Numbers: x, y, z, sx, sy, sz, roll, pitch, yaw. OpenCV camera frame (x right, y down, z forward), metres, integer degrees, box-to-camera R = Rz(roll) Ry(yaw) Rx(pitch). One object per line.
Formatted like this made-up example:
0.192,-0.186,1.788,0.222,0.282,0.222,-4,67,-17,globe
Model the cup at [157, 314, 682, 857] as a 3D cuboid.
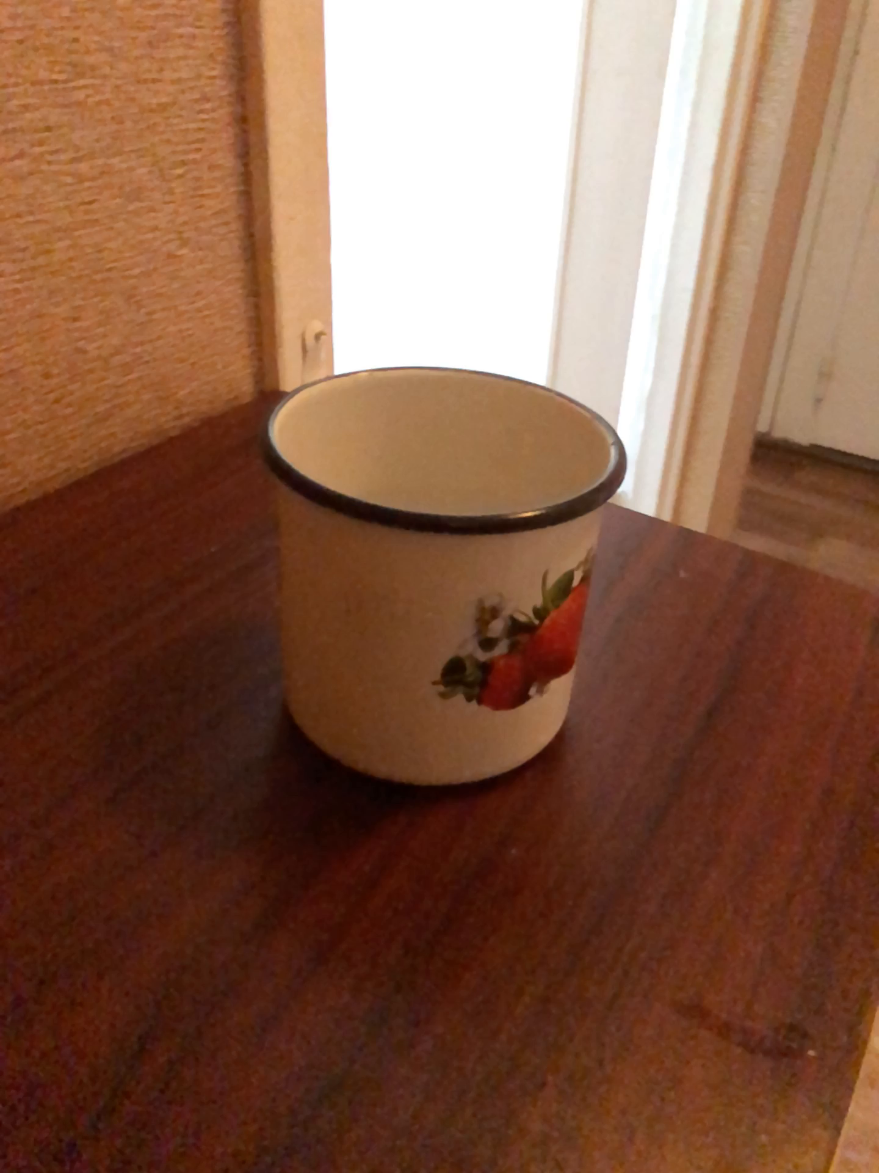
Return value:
0.001,-0.015,0.358,0.118,0.113,0.156,17,36,22,cup
